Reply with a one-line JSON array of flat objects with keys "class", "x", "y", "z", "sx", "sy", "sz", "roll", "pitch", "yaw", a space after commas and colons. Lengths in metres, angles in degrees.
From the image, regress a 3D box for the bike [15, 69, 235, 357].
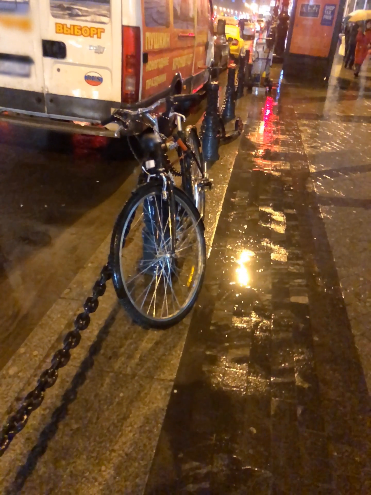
[{"class": "bike", "x": -0.146, "y": -0.408, "z": 2.318, "sx": 0.553, "sy": 0.961, "sz": 1.758, "roll": 8, "pitch": 30, "yaw": 10}]
